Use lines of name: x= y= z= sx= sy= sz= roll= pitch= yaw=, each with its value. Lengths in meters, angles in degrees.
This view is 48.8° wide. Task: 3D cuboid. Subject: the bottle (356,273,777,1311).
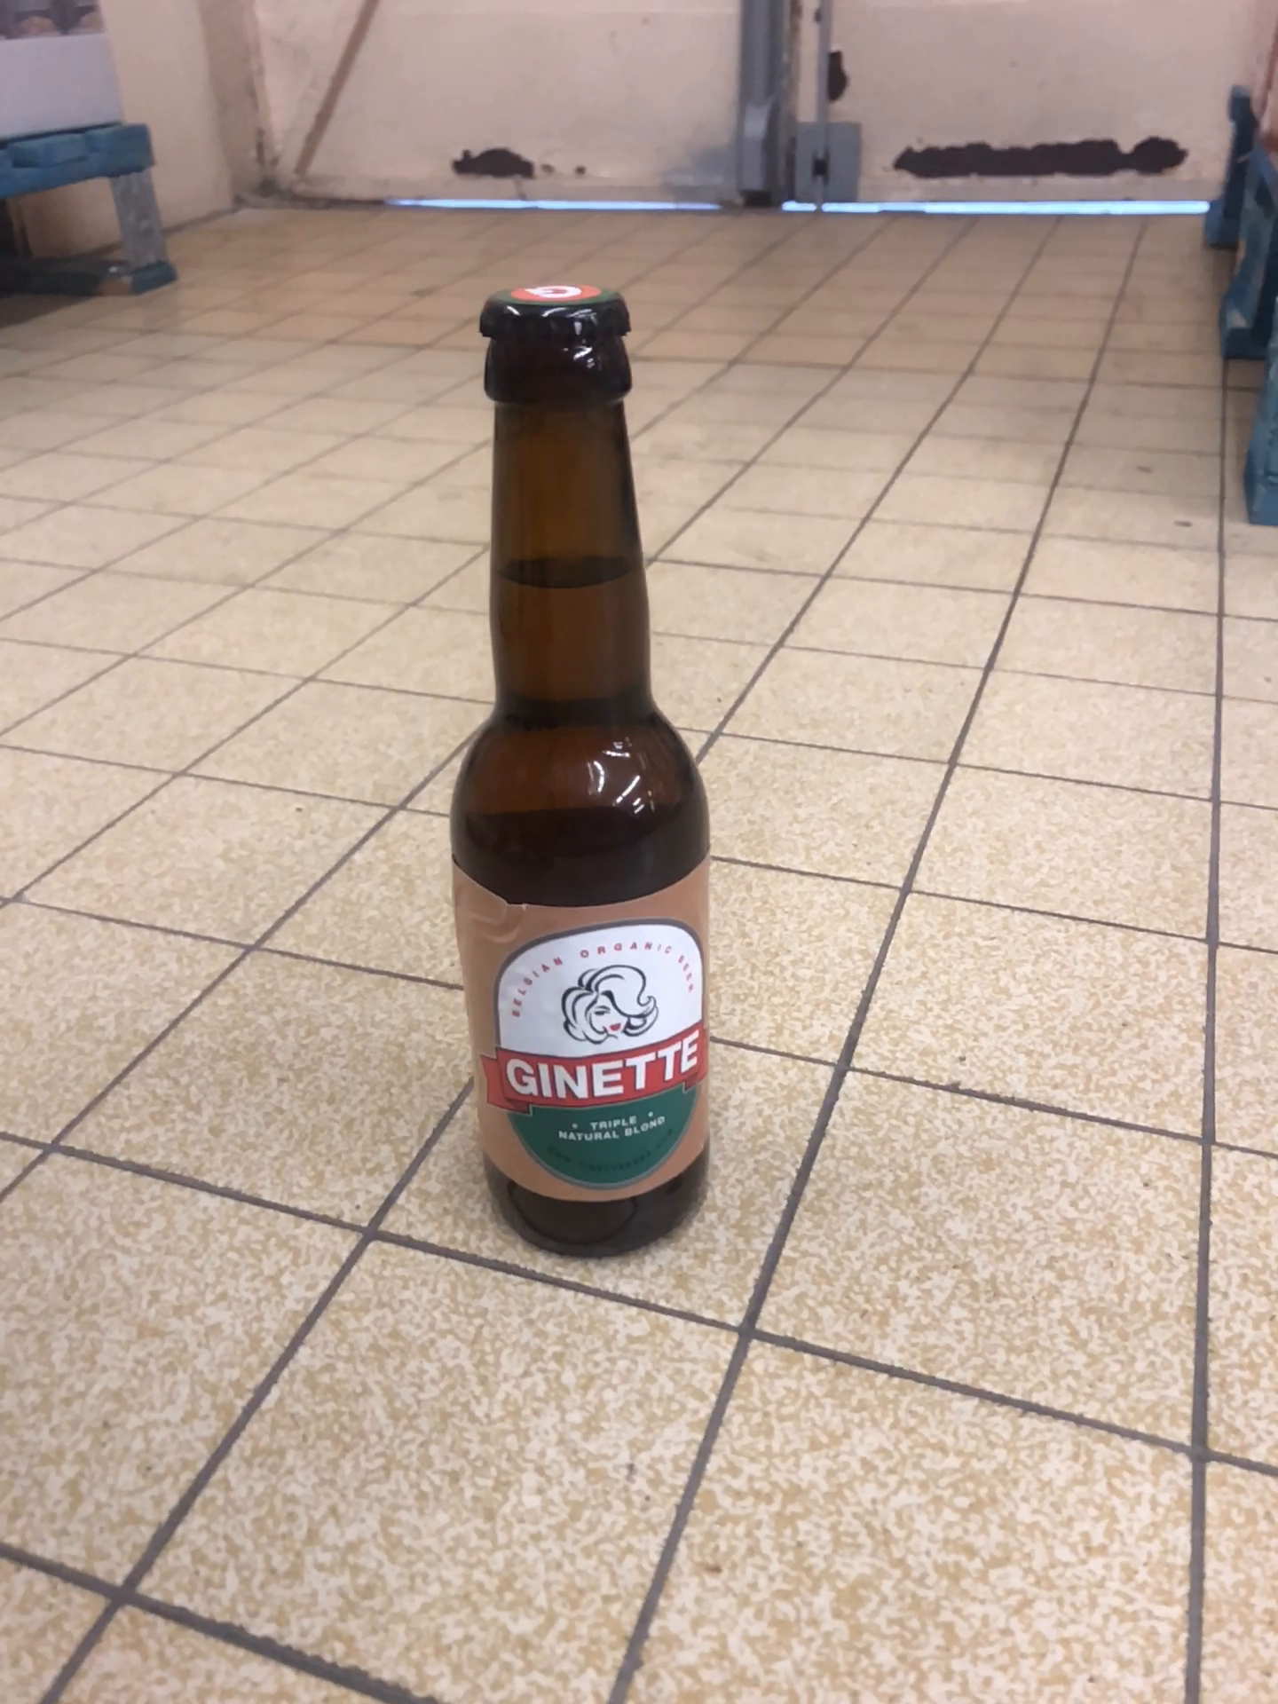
bottle: x=-0.014 y=-0.006 z=0.317 sx=0.070 sy=0.219 sz=0.070 roll=-1 pitch=30 yaw=1
